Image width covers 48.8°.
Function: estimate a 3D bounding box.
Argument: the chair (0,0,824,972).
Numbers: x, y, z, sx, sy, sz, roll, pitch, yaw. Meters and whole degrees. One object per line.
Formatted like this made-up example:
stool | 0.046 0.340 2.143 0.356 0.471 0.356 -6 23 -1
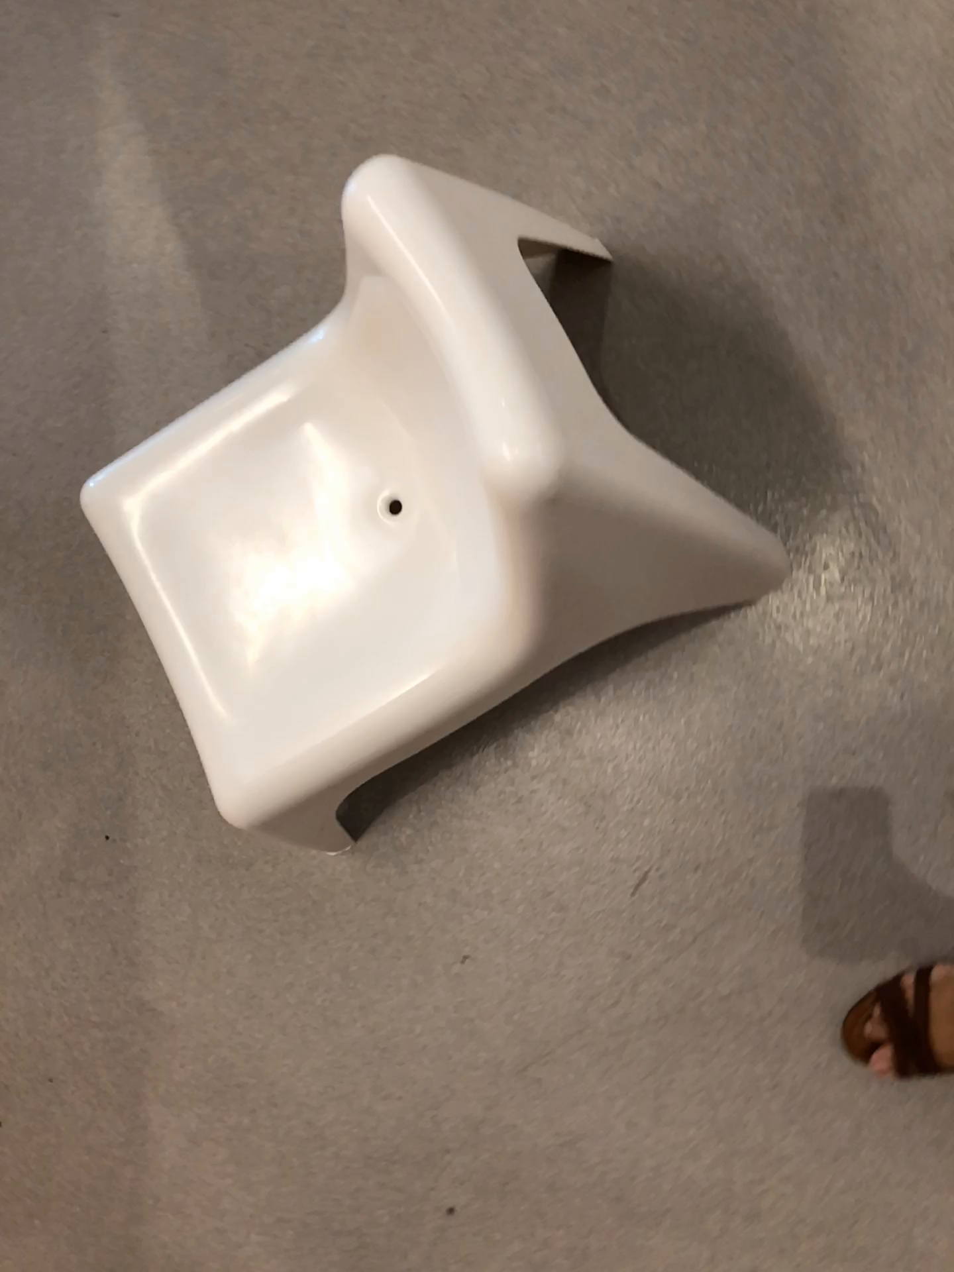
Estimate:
chair | -0.133 -0.132 0.995 0.691 0.399 0.530 -34 78 15
